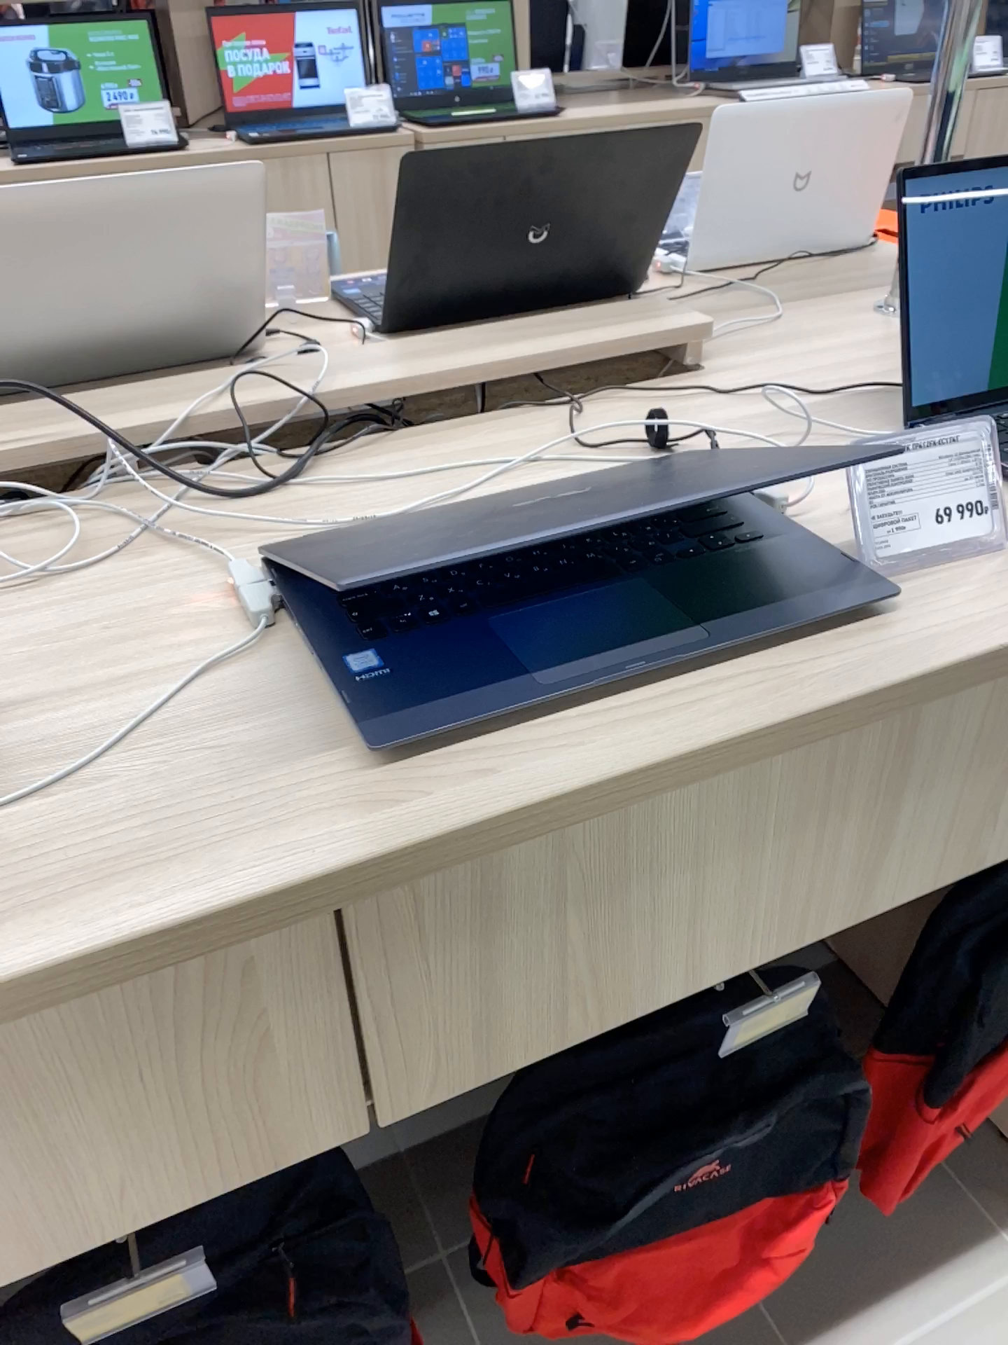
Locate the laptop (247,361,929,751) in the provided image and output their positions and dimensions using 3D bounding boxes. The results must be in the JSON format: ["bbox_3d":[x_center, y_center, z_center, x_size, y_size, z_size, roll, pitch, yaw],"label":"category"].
[{"bbox_3d":[0.040,-0.093,0.618,0.330,0.079,0.226,-16,36,-20],"label":"laptop"}]
